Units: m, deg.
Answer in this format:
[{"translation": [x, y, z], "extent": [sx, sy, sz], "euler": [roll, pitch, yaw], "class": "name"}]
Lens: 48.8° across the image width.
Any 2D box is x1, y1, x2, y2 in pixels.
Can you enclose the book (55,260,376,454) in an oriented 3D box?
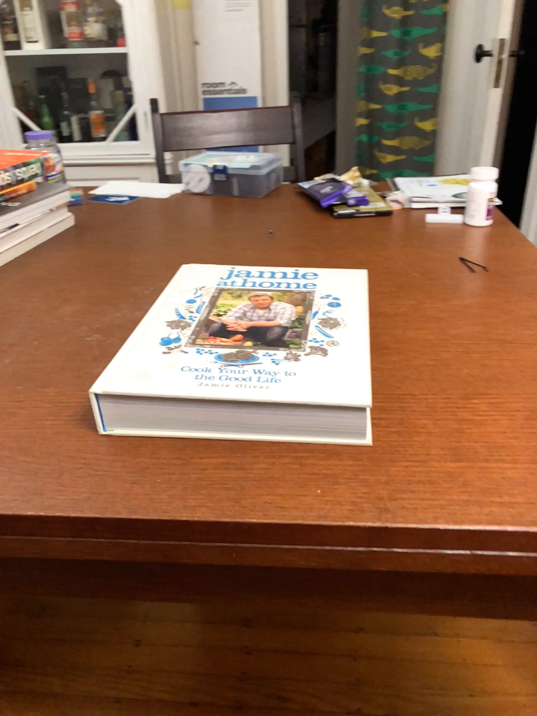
[{"translation": [-0.019, -0.021, 0.502], "extent": [0.210, 0.040, 0.261], "euler": [2, 29, 8], "class": "book"}]
